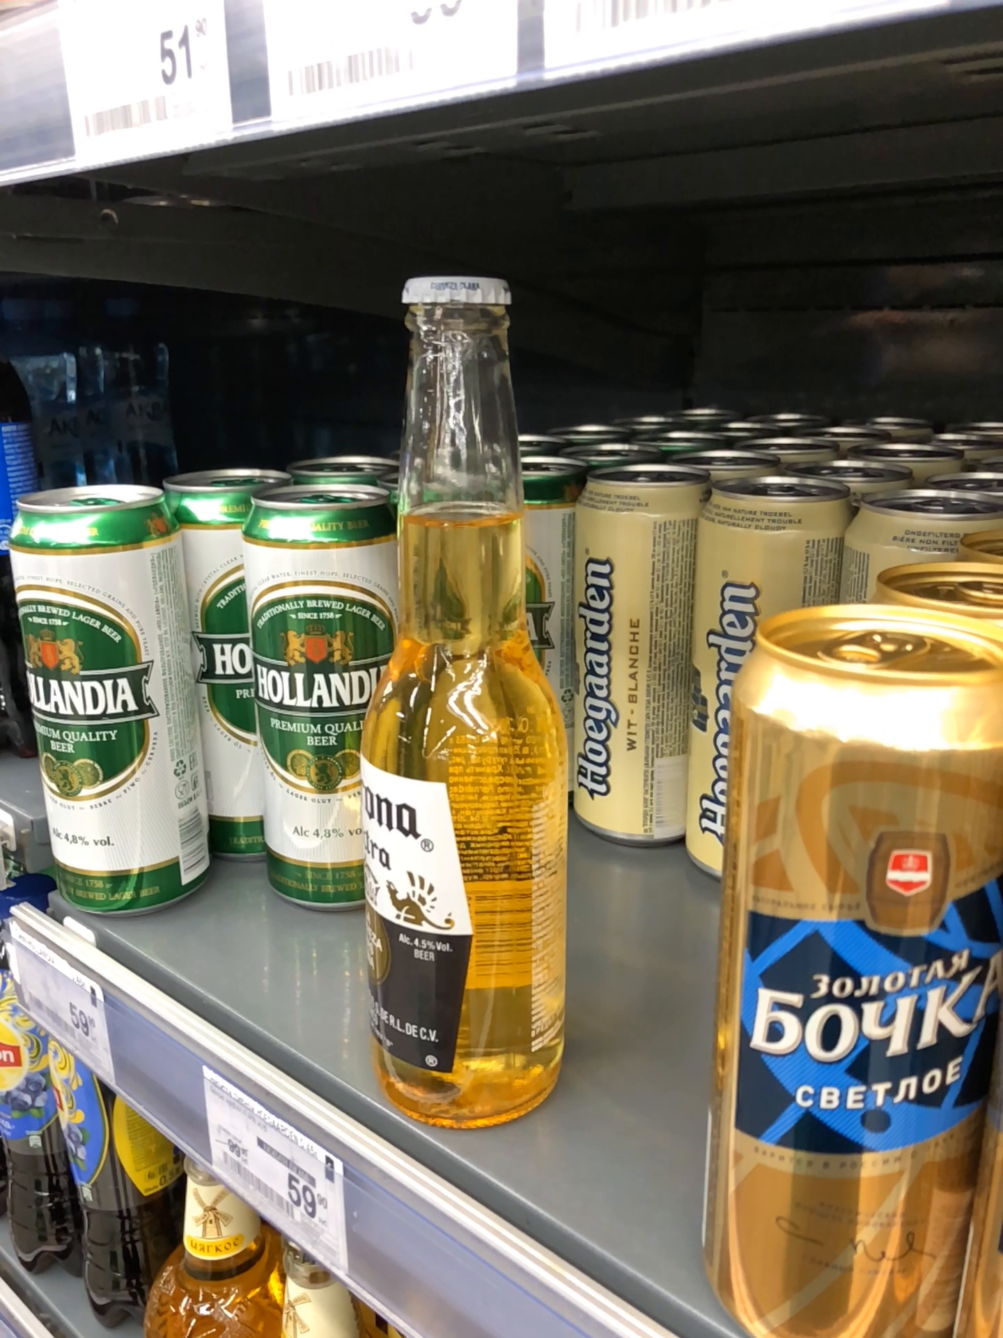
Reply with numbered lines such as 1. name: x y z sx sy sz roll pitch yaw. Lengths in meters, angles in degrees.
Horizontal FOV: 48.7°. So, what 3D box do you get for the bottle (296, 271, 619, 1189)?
1. bottle: -0.012 0.016 0.311 0.060 0.237 0.070 -8 18 -21
